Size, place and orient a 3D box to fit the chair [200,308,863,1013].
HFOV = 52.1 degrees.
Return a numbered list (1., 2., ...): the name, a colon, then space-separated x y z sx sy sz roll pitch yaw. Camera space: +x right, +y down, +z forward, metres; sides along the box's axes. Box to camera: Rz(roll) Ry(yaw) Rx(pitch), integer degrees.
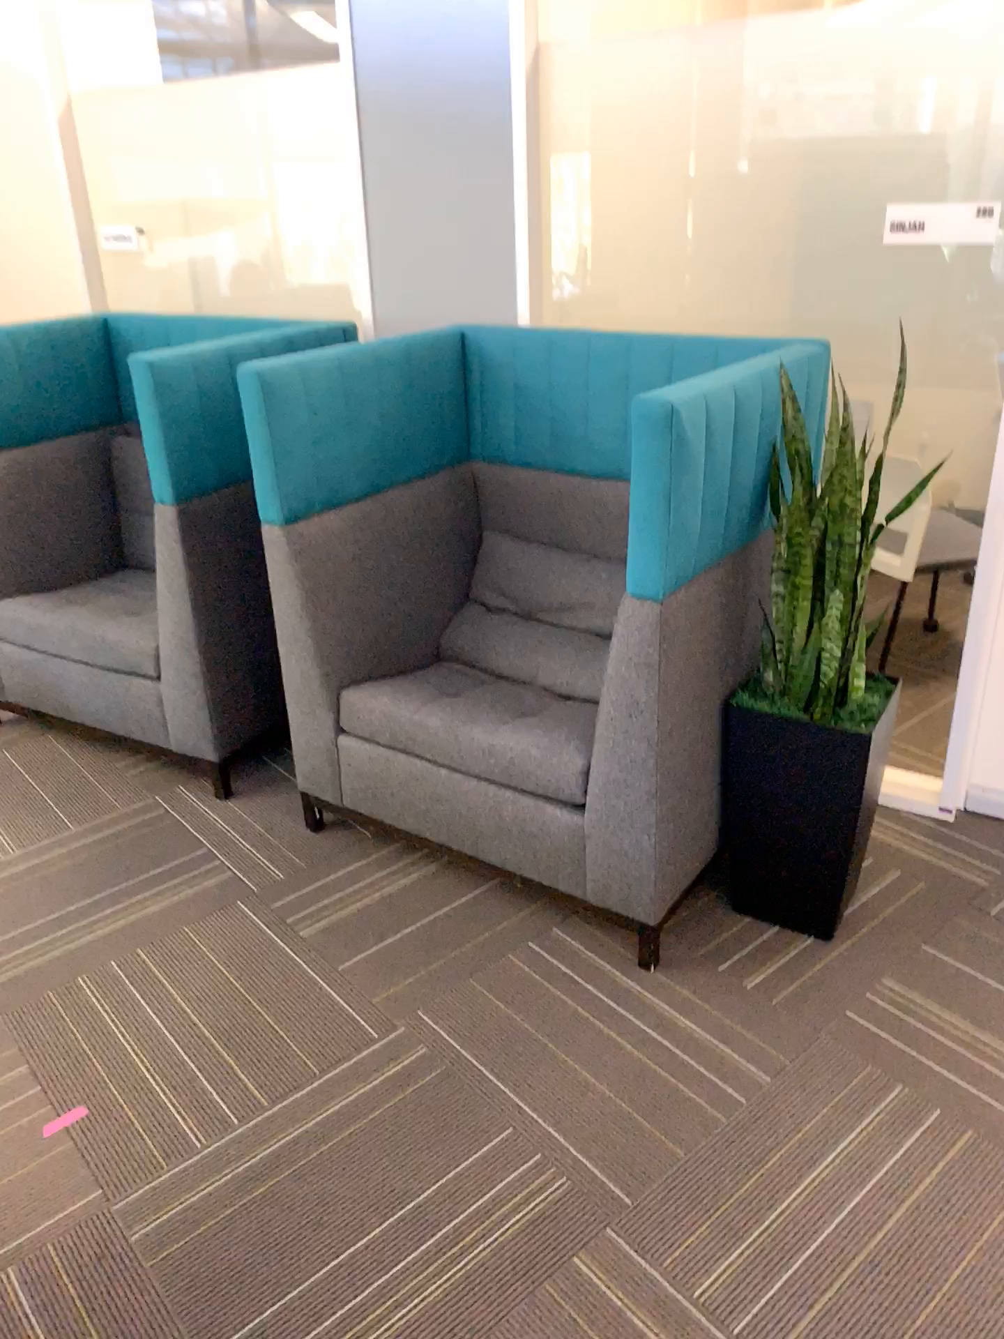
1. chair: 0.116 -0.159 2.469 1.053 1.213 1.013 14 29 32
